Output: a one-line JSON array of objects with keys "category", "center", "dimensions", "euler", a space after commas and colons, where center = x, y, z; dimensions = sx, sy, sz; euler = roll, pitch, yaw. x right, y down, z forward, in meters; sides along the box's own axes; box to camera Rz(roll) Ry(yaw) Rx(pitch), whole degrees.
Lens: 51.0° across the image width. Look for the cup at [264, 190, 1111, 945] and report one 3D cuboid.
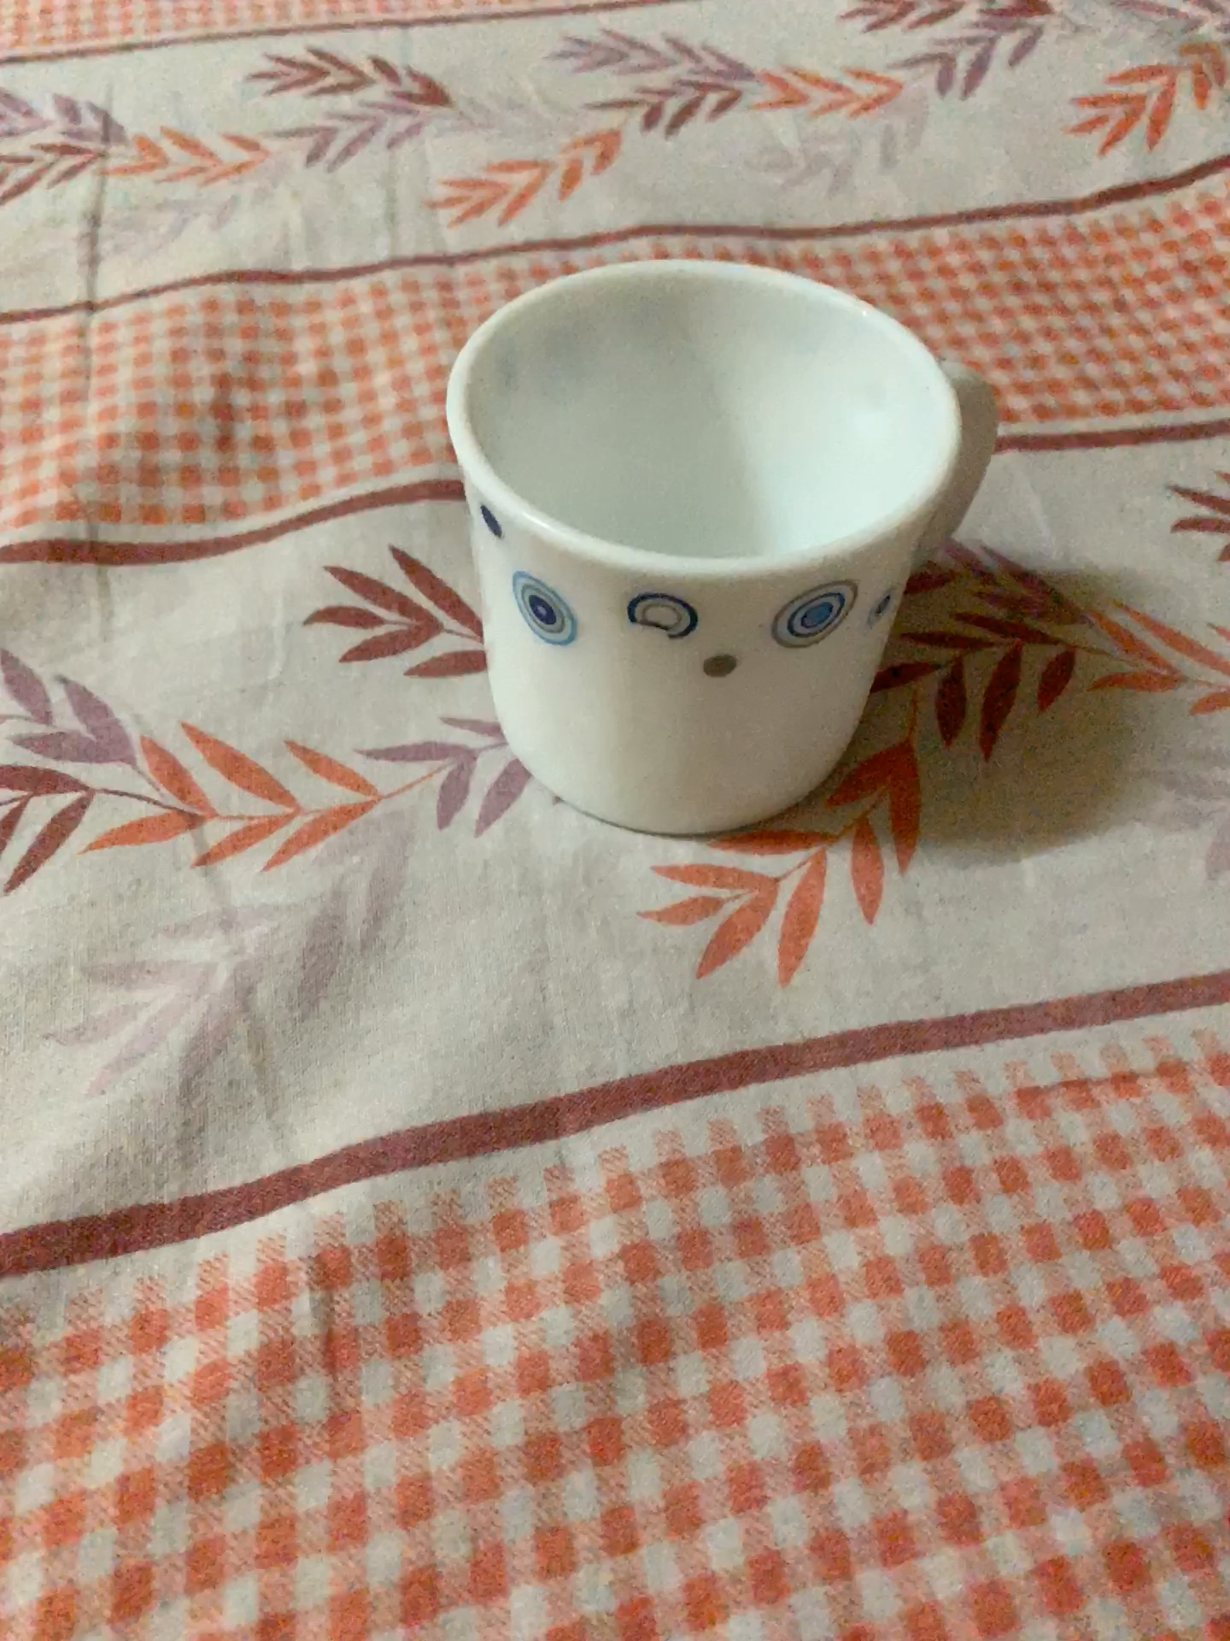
[{"category": "cup", "center": [0.008, -0.043, 0.212], "dimensions": [0.100, 0.070, 0.070], "euler": [-20, 56, -16]}]
